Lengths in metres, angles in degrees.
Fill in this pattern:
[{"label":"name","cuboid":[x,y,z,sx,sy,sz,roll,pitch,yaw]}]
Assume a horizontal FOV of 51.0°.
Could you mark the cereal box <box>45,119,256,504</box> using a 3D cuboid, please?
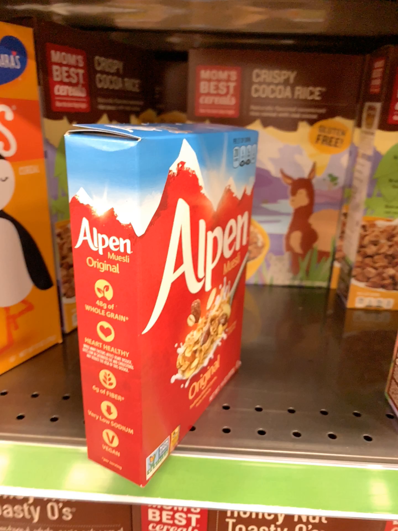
[{"label":"cereal box","cuboid":[-0.018,0.013,0.282,0.040,0.209,0.160,12,22,26]}]
